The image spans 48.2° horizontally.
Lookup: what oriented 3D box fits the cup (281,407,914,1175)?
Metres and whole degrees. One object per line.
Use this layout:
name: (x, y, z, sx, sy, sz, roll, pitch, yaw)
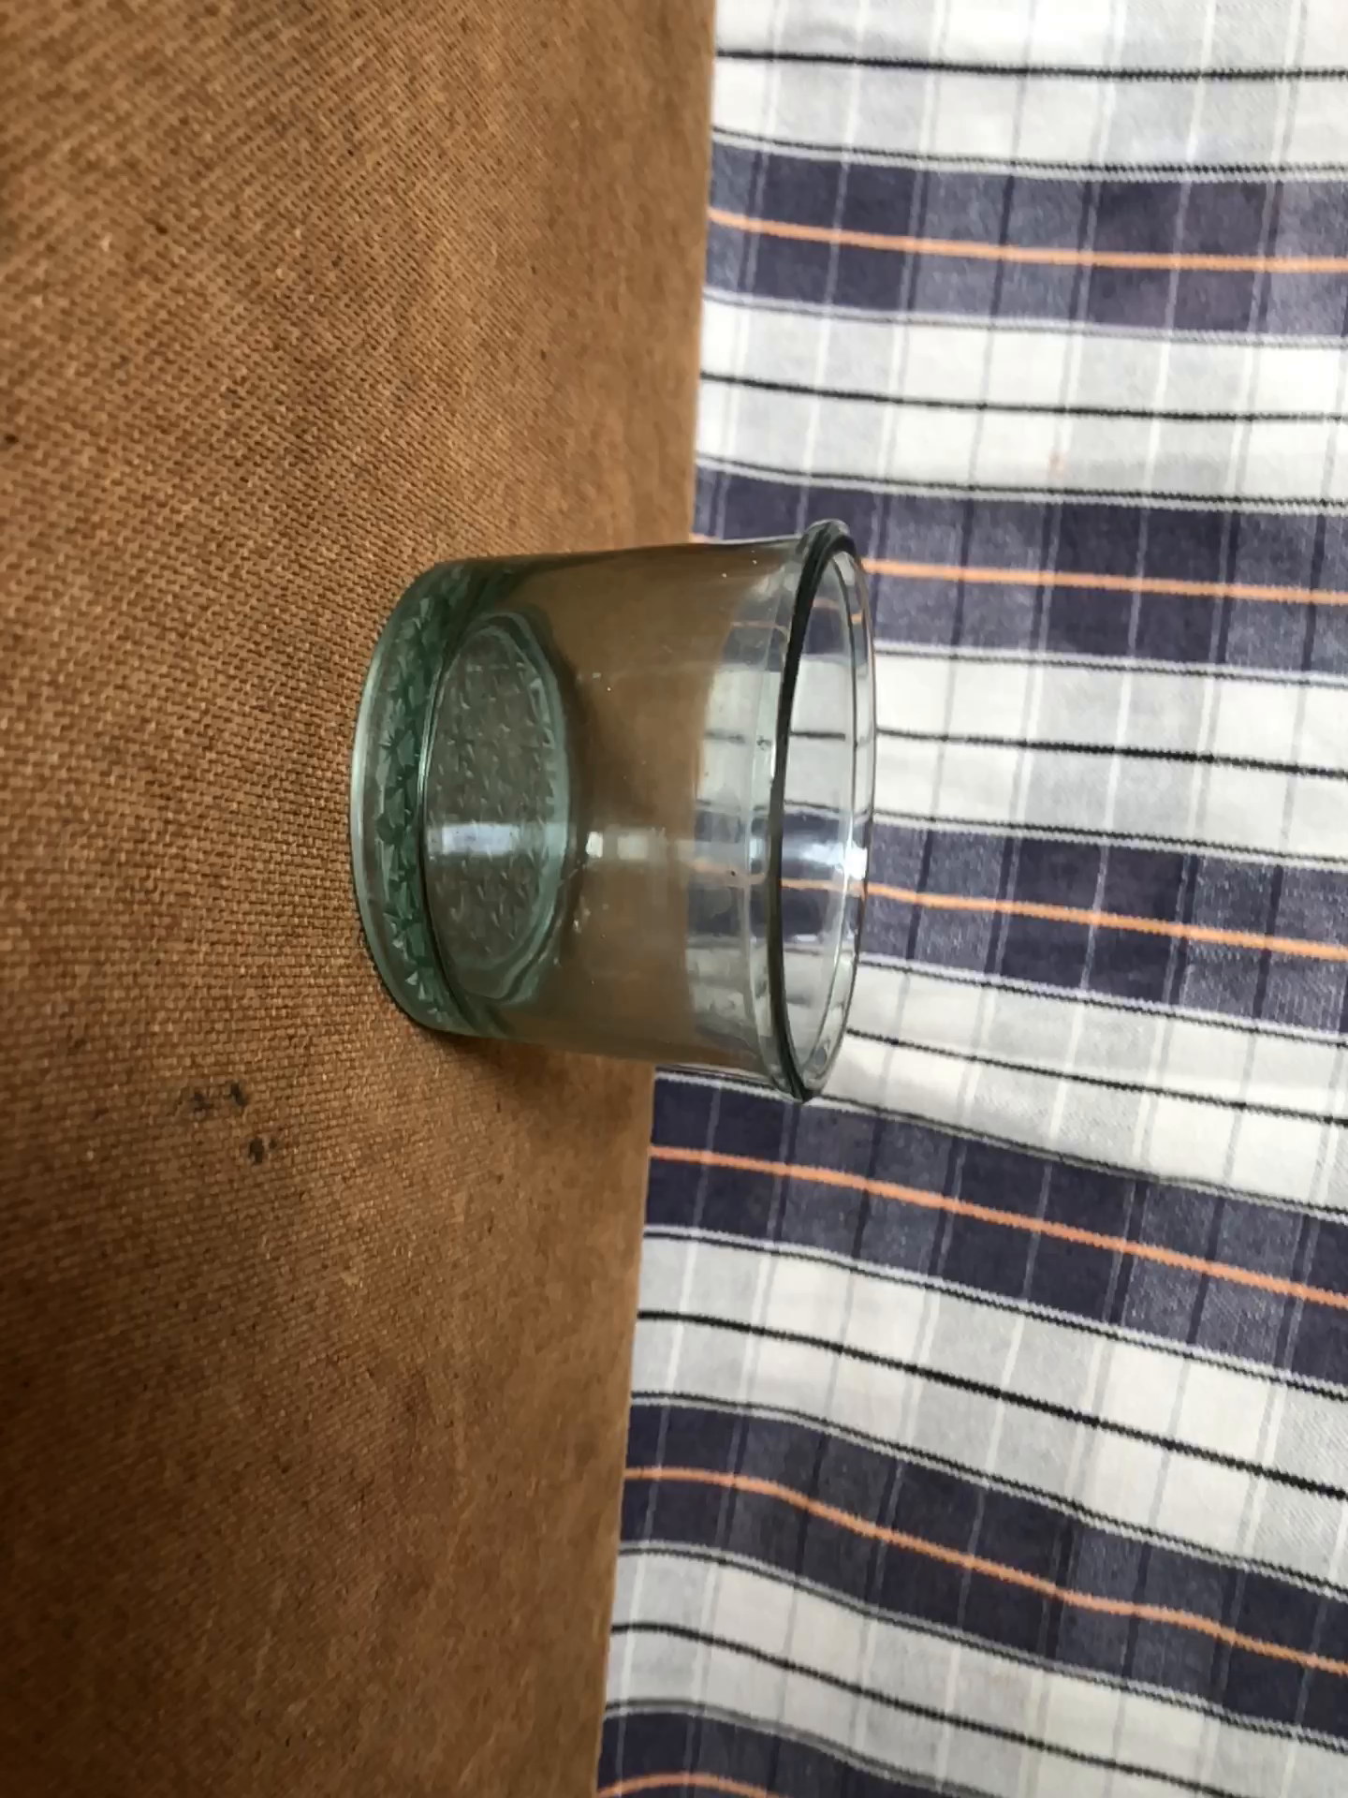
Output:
cup: (-0.002, -0.014, 0.215, 0.070, 0.060, 0.080, 69, 28, -57)
